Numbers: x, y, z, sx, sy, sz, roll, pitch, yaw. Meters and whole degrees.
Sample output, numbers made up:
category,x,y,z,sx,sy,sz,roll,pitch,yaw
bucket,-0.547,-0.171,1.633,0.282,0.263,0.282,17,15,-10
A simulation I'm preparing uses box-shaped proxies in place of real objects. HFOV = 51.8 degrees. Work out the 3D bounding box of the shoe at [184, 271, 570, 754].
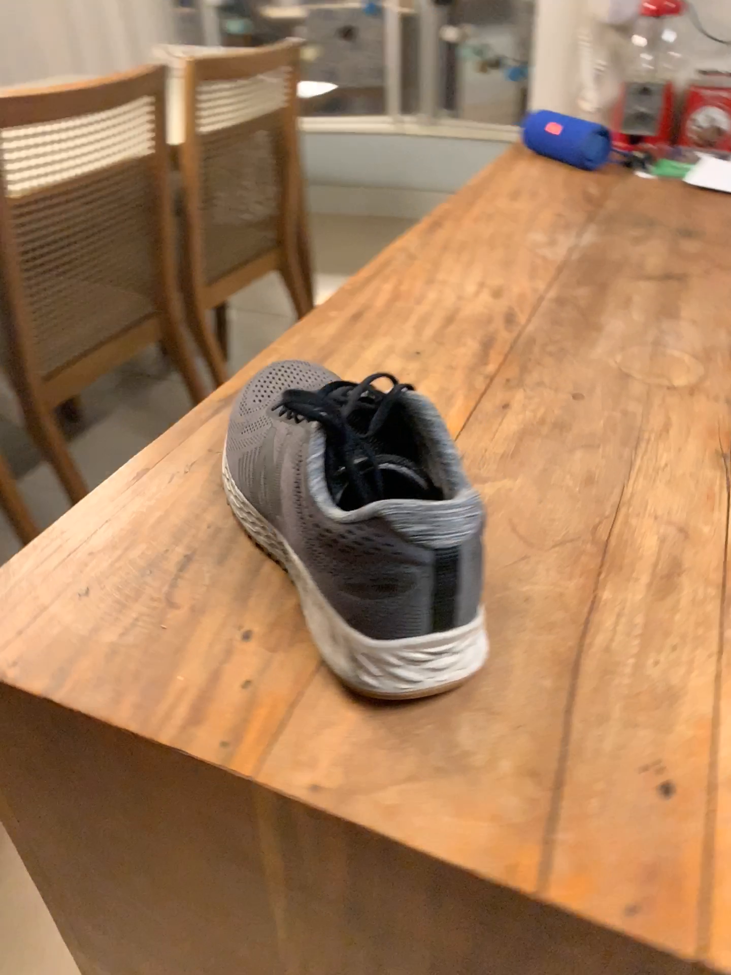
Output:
category,x,y,z,sx,sy,sz,roll,pitch,yaw
shoe,-0.018,-0.017,0.439,0.110,0.109,0.302,-13,37,-15
